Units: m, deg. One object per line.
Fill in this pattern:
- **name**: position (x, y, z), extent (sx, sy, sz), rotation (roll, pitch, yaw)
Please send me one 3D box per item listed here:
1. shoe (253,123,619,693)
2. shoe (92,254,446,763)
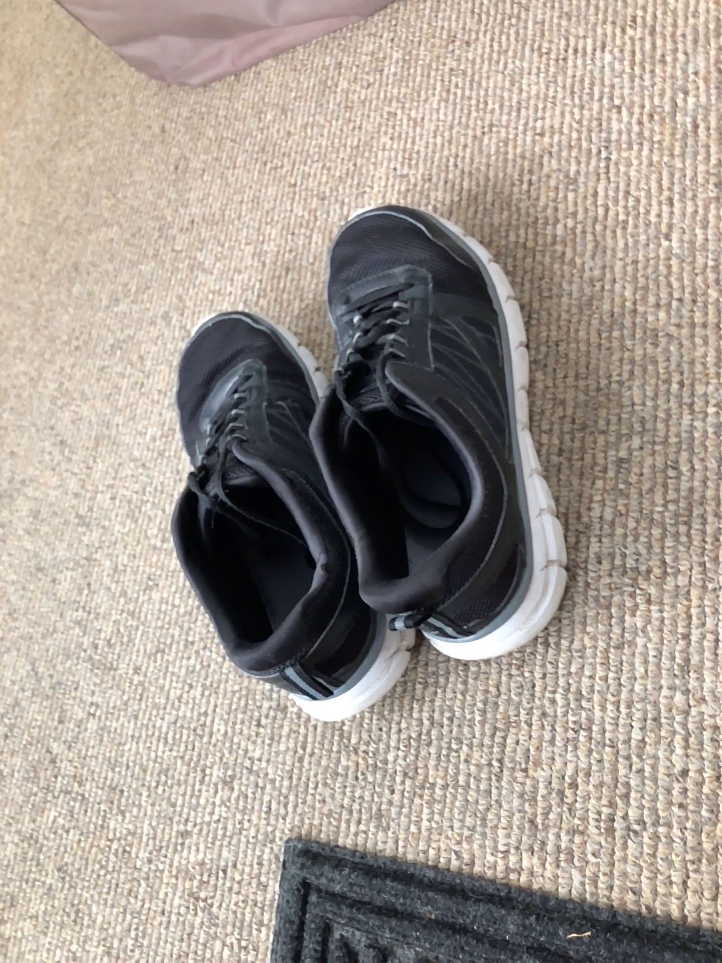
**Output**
- **shoe**: position (0.032, -0.039, 0.450), extent (0.120, 0.111, 0.276), rotation (-22, 60, 24)
- **shoe**: position (-0.068, 0.012, 0.493), extent (0.118, 0.100, 0.276), rotation (-32, 57, 18)
